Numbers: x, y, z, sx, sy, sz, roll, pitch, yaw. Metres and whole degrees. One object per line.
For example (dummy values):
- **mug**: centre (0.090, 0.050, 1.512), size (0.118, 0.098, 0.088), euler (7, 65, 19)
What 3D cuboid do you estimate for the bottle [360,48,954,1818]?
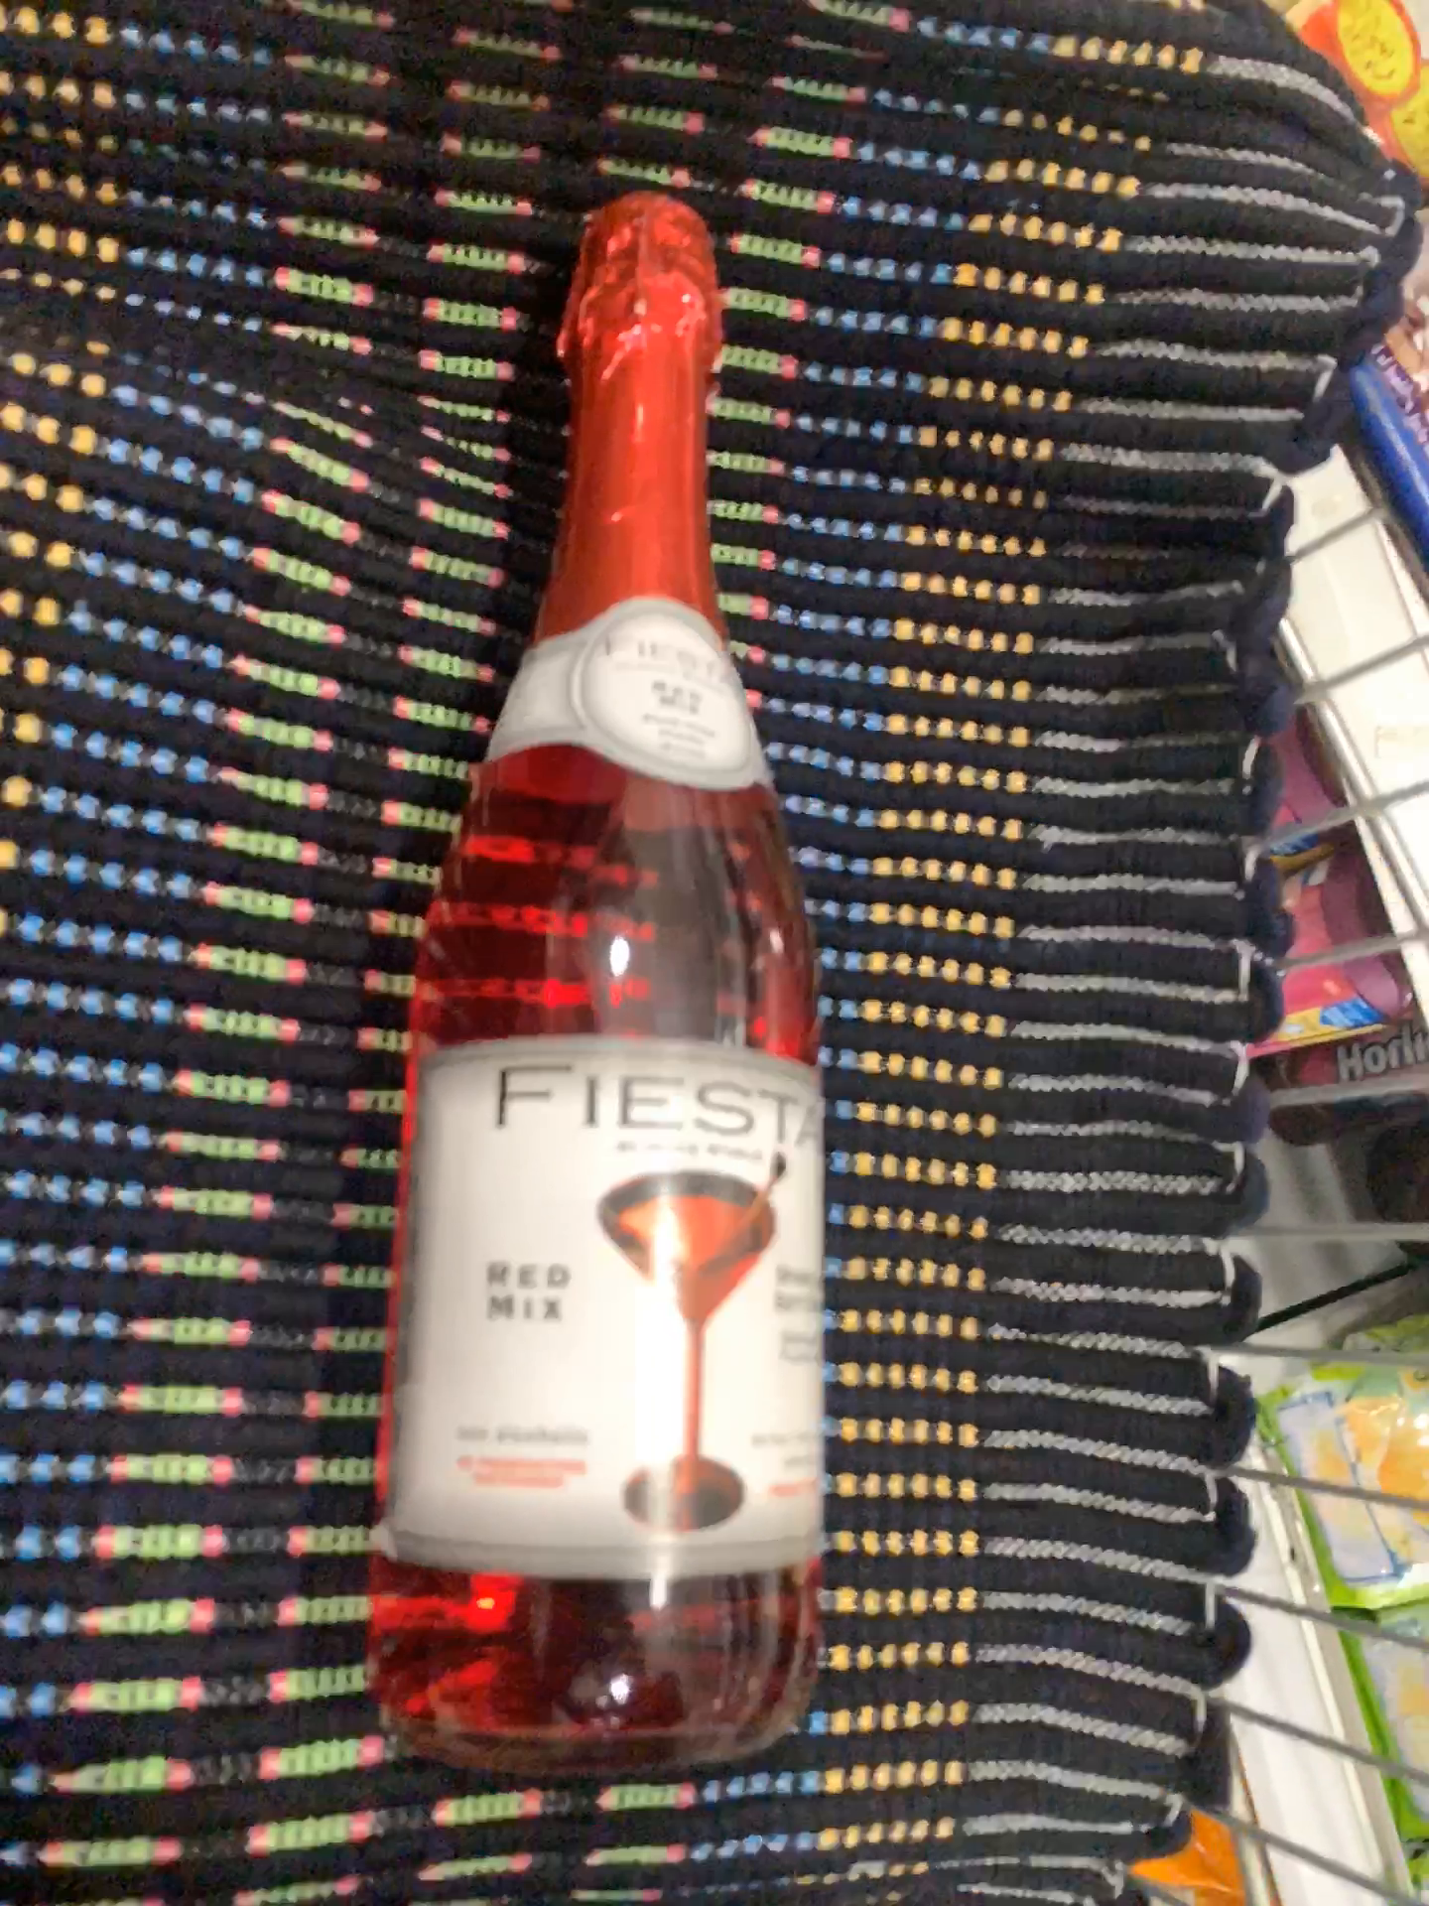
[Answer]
- **bottle**: centre (-0.010, -0.016, 0.289), size (0.080, 0.070, 0.310), euler (8, 72, -22)
